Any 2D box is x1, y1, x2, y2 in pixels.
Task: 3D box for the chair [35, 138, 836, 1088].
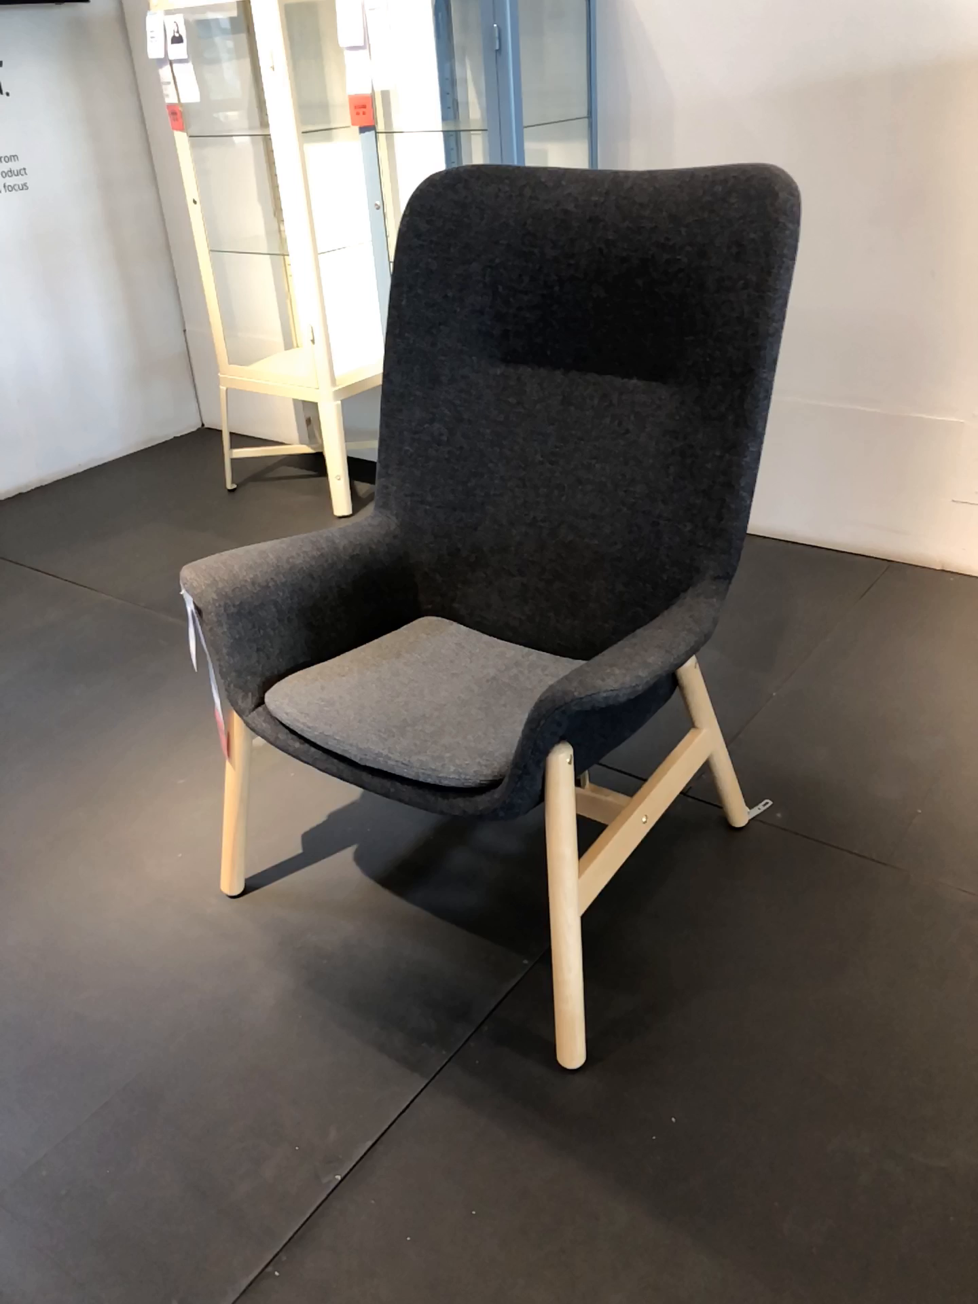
[{"bbox_3d":[-0.013,-0.135,1.589,0.722,1.063,0.713,16,34,33],"label":"chair"}]
